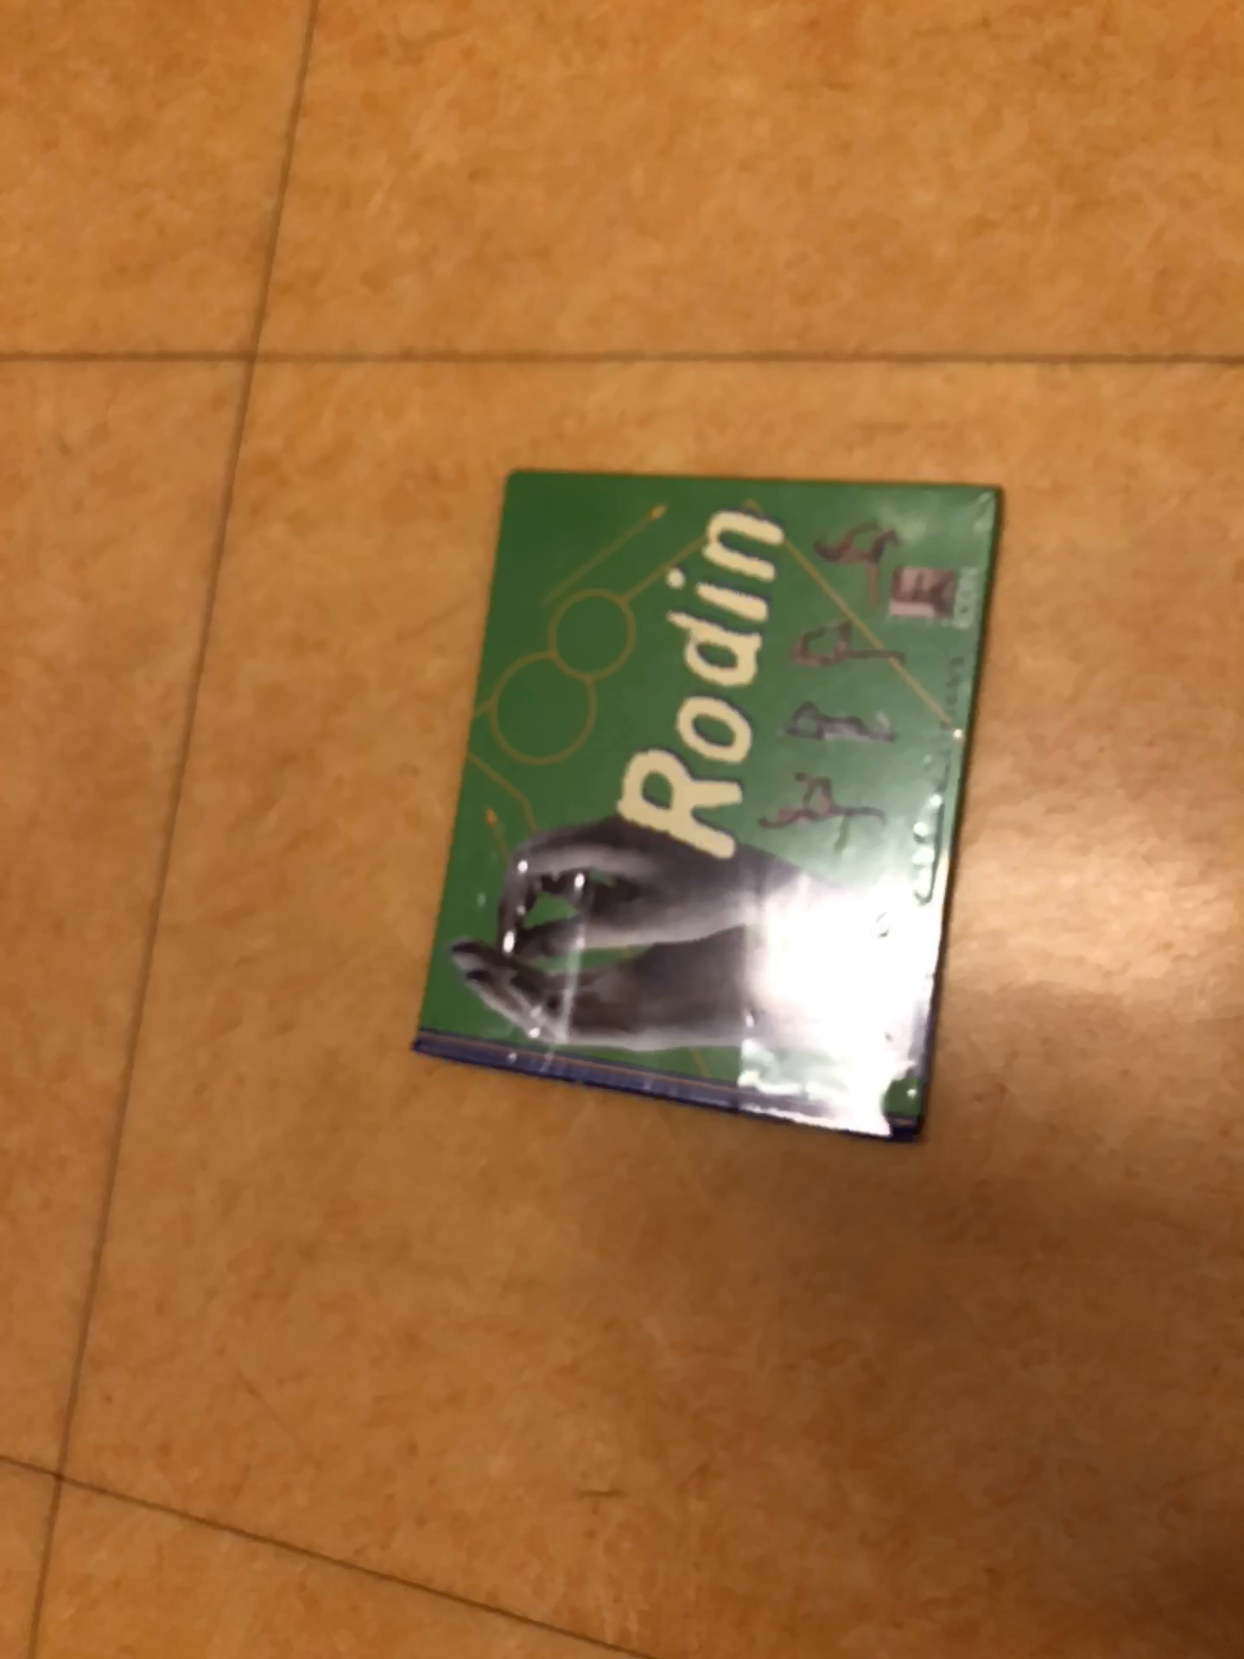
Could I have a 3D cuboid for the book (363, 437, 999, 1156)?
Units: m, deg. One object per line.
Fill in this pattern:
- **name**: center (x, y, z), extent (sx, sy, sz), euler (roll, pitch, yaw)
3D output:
- **book**: center (0.021, -0.021, 0.517), extent (0.200, 0.030, 0.243), euler (7, 83, 19)
